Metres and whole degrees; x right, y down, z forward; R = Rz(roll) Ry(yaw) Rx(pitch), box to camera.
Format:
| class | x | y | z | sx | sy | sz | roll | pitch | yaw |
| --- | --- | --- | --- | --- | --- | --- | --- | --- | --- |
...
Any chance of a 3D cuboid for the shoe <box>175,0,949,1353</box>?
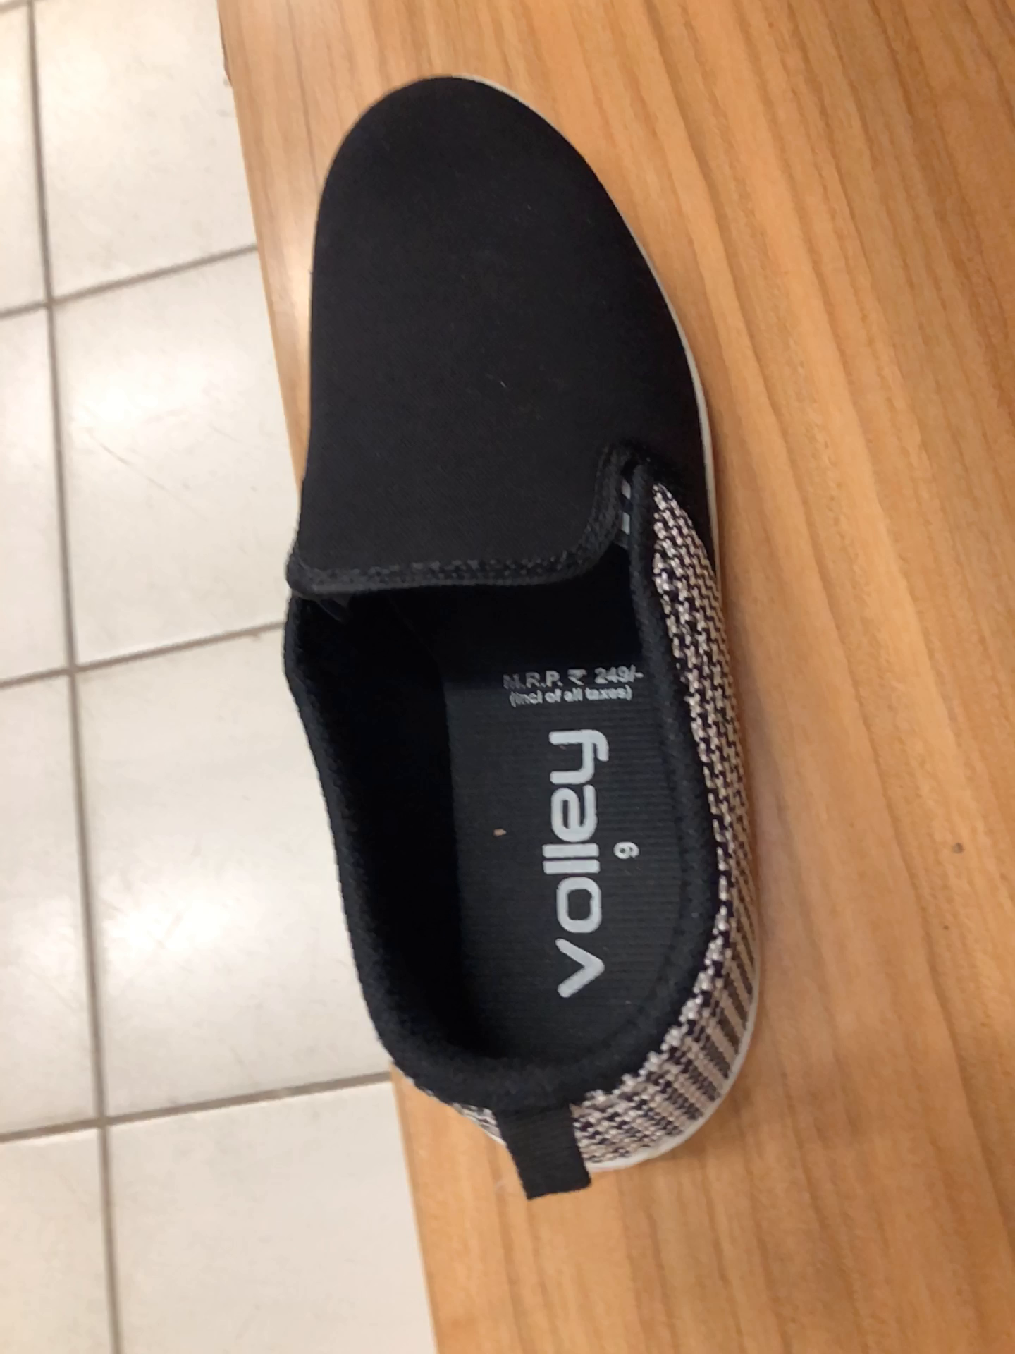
| class | x | y | z | sx | sy | sz | roll | pitch | yaw |
| --- | --- | --- | --- | --- | --- | --- | --- | --- | --- |
| shoe | 0.003 | -0.031 | 0.252 | 0.100 | 0.090 | 0.290 | -11 | 75 | 8 |
